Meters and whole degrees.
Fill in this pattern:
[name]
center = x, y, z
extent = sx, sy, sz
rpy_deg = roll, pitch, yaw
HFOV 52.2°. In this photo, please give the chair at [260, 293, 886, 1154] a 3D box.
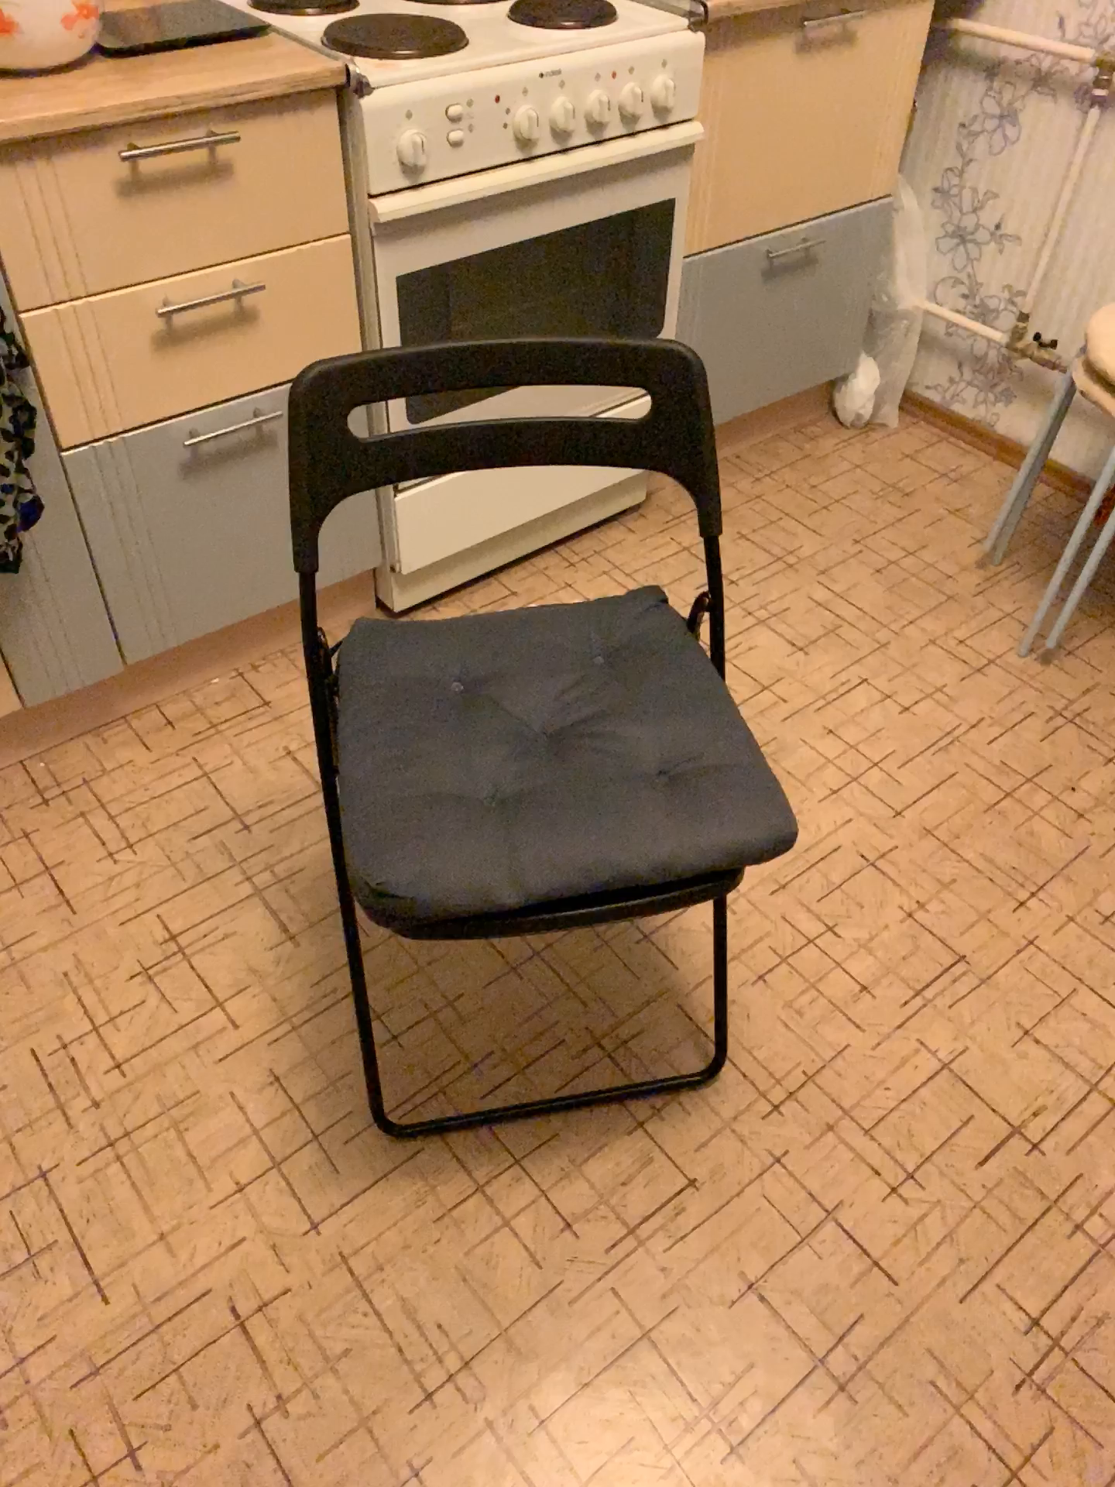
[chair]
center = -0.033, 0.002, 1.255
extent = 0.440, 0.776, 0.482
rpy_deg = -8, 45, -11
